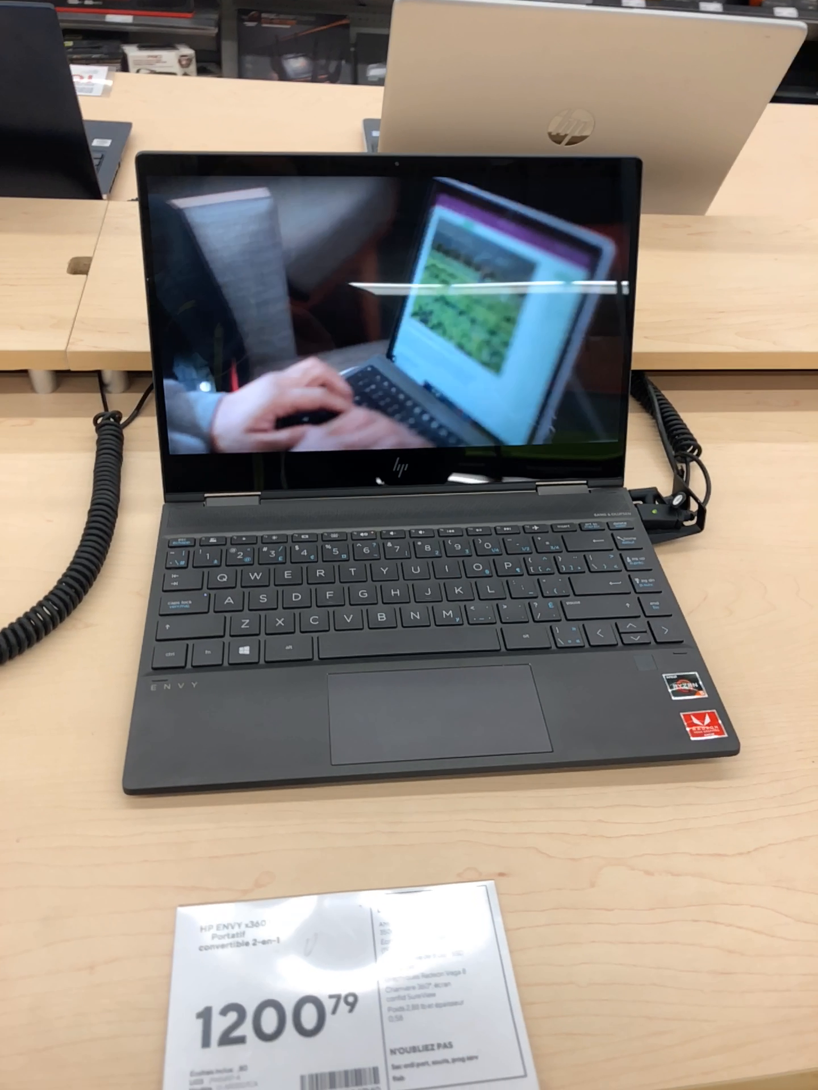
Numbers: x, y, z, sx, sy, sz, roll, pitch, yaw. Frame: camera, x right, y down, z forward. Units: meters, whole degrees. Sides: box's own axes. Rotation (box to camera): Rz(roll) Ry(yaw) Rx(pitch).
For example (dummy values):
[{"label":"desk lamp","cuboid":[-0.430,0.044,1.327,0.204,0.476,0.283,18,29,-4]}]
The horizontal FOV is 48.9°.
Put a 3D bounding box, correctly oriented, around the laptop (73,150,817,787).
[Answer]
[{"label":"laptop","cuboid":[0.008,-0.058,0.480,0.294,0.182,0.289,-2,44,-9]}]
